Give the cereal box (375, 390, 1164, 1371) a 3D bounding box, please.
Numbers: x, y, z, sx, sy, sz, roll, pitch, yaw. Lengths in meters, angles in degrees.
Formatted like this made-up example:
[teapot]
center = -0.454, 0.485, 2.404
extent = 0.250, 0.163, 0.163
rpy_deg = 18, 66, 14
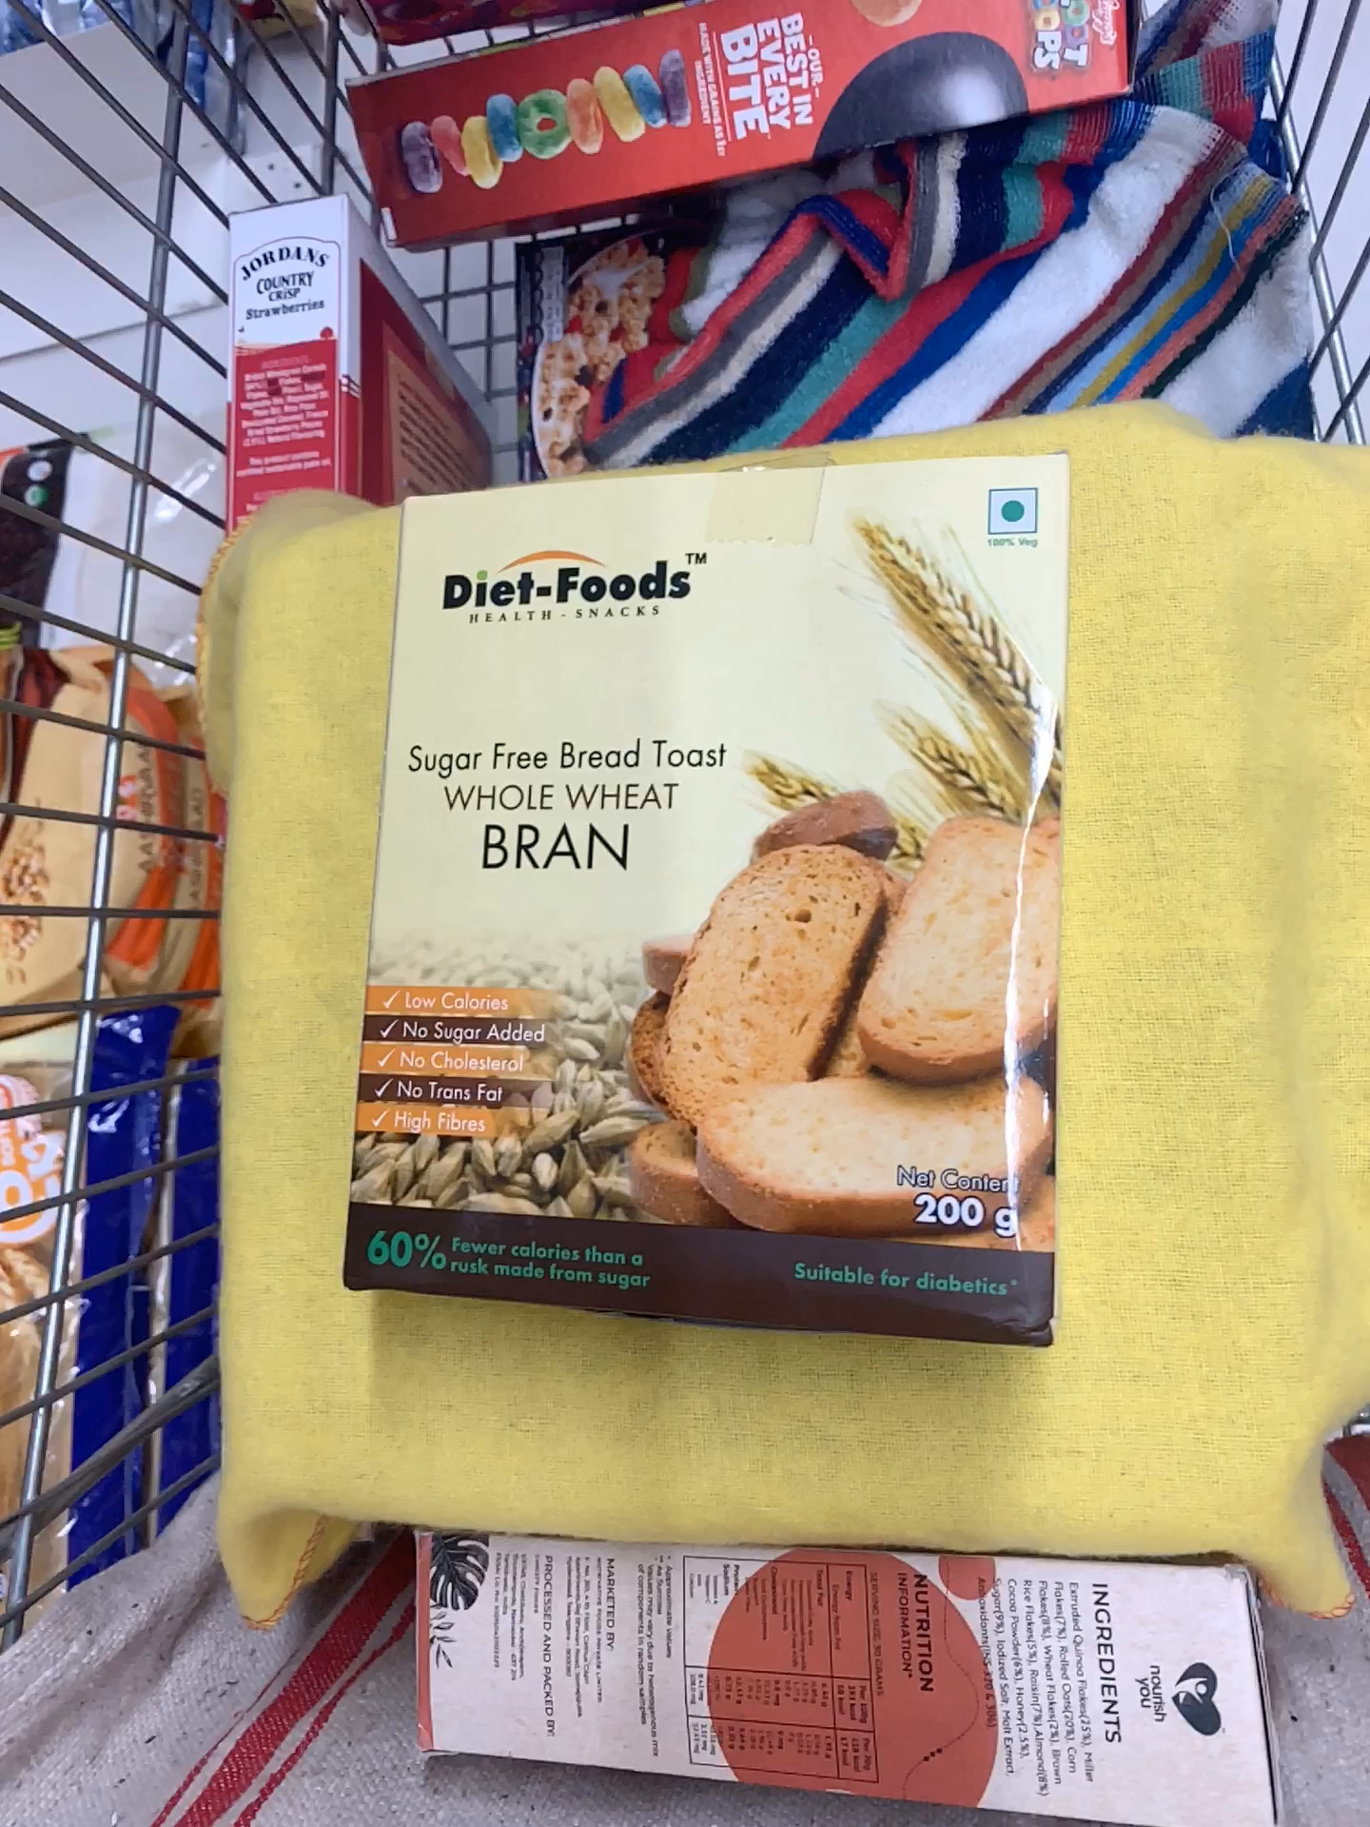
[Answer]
[cereal box]
center = 0.020, -0.007, 0.283
extent = 0.140, 0.050, 0.170
rpy_deg = 1, 82, 15
